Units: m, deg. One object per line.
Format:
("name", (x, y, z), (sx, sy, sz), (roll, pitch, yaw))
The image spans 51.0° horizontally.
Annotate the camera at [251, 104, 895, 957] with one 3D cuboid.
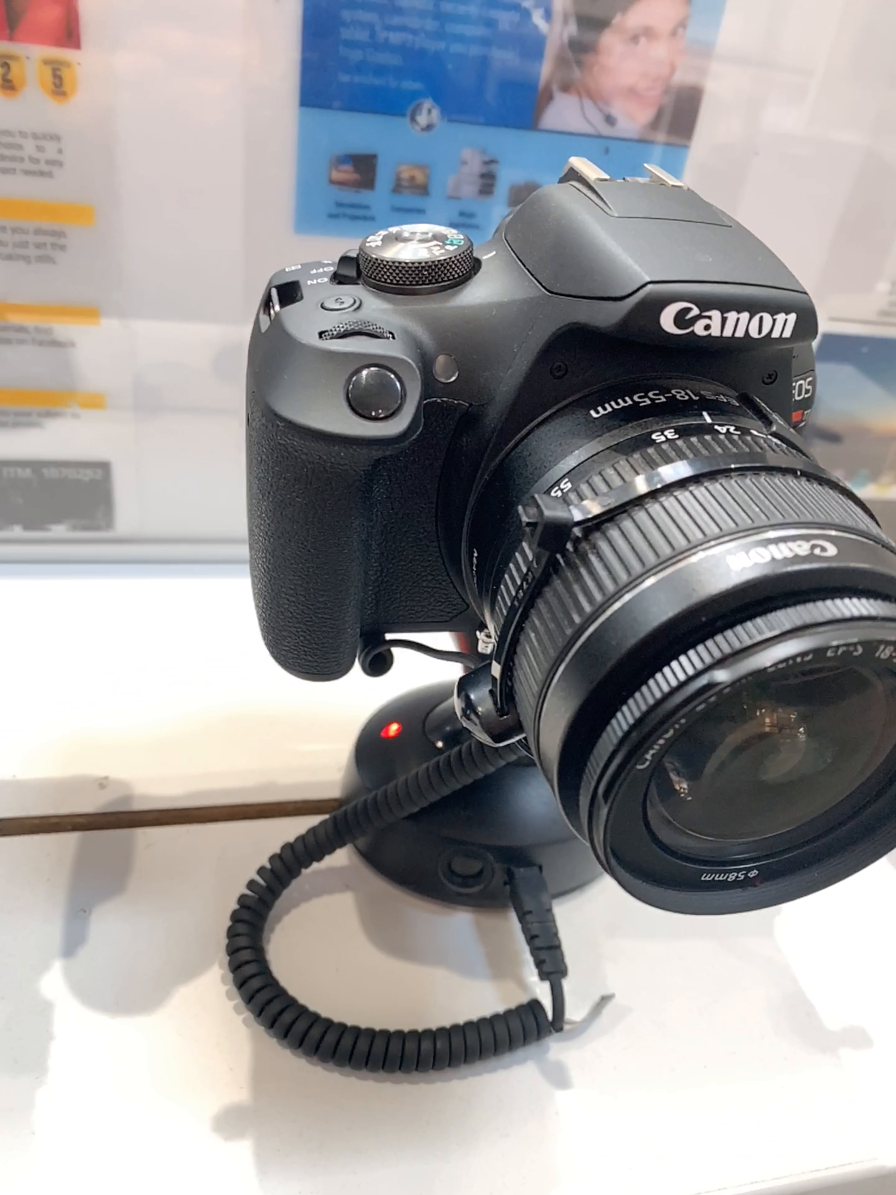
("camera", (0.029, -0.019, 0.178), (0.122, 0.104, 0.110), (-1, 36, -15))
